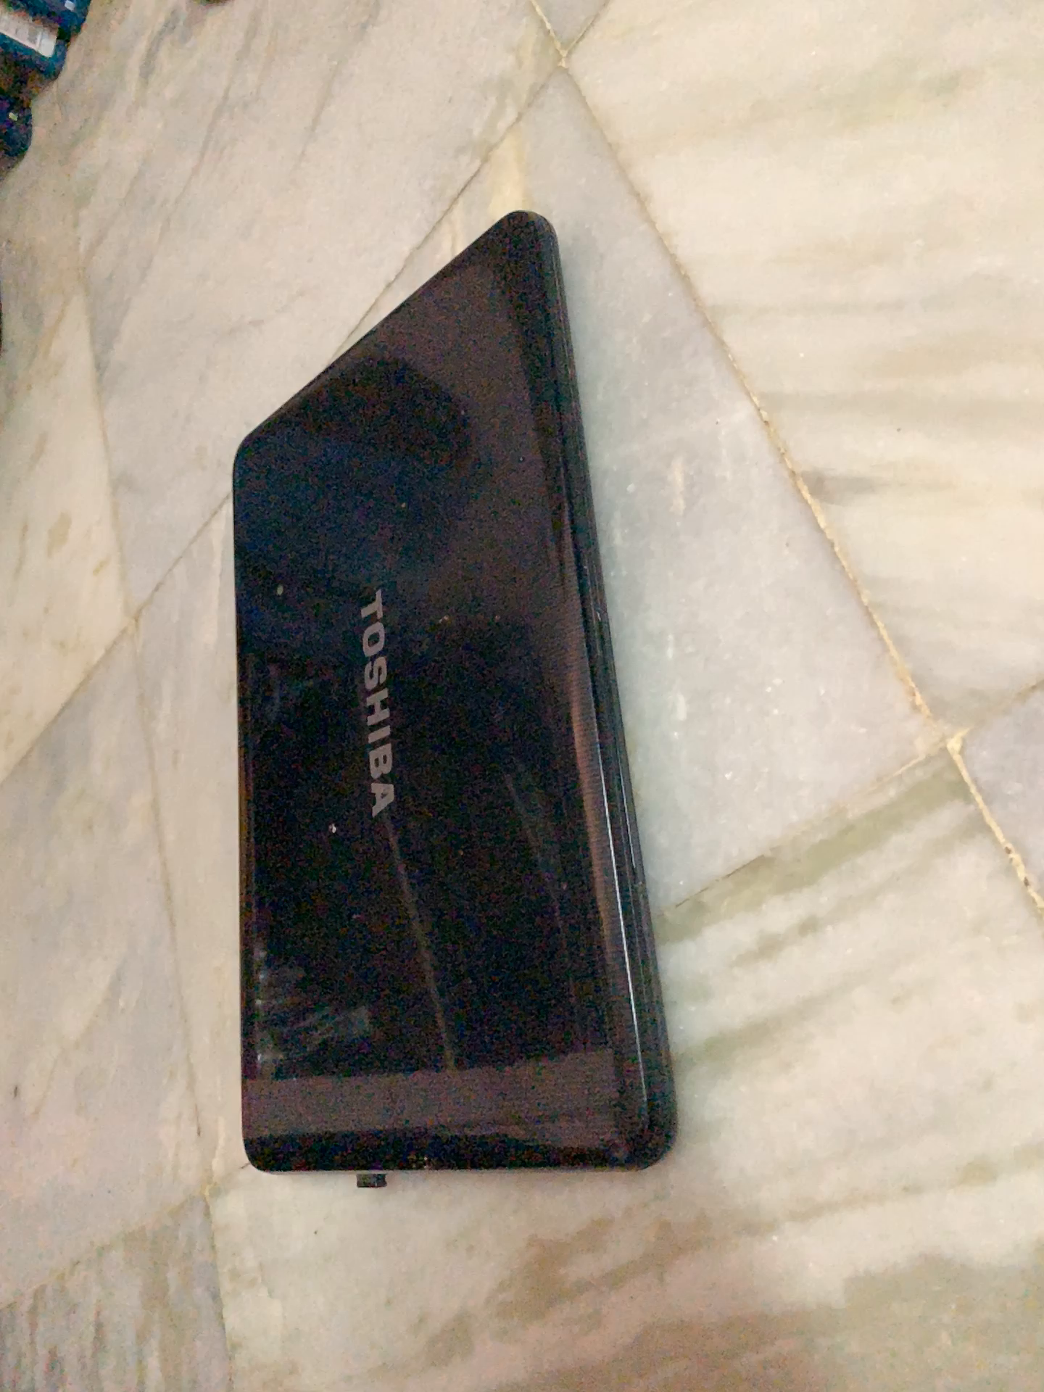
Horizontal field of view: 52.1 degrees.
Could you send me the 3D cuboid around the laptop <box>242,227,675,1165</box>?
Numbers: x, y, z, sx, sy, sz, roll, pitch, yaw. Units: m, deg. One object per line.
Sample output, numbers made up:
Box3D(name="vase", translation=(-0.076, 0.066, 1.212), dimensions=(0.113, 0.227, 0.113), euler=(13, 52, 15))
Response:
Box3D(name="laptop", translation=(-0.053, 0.007, 0.458), dimensions=(0.223, 0.003, 0.355), euler=(-23, 66, 39))
